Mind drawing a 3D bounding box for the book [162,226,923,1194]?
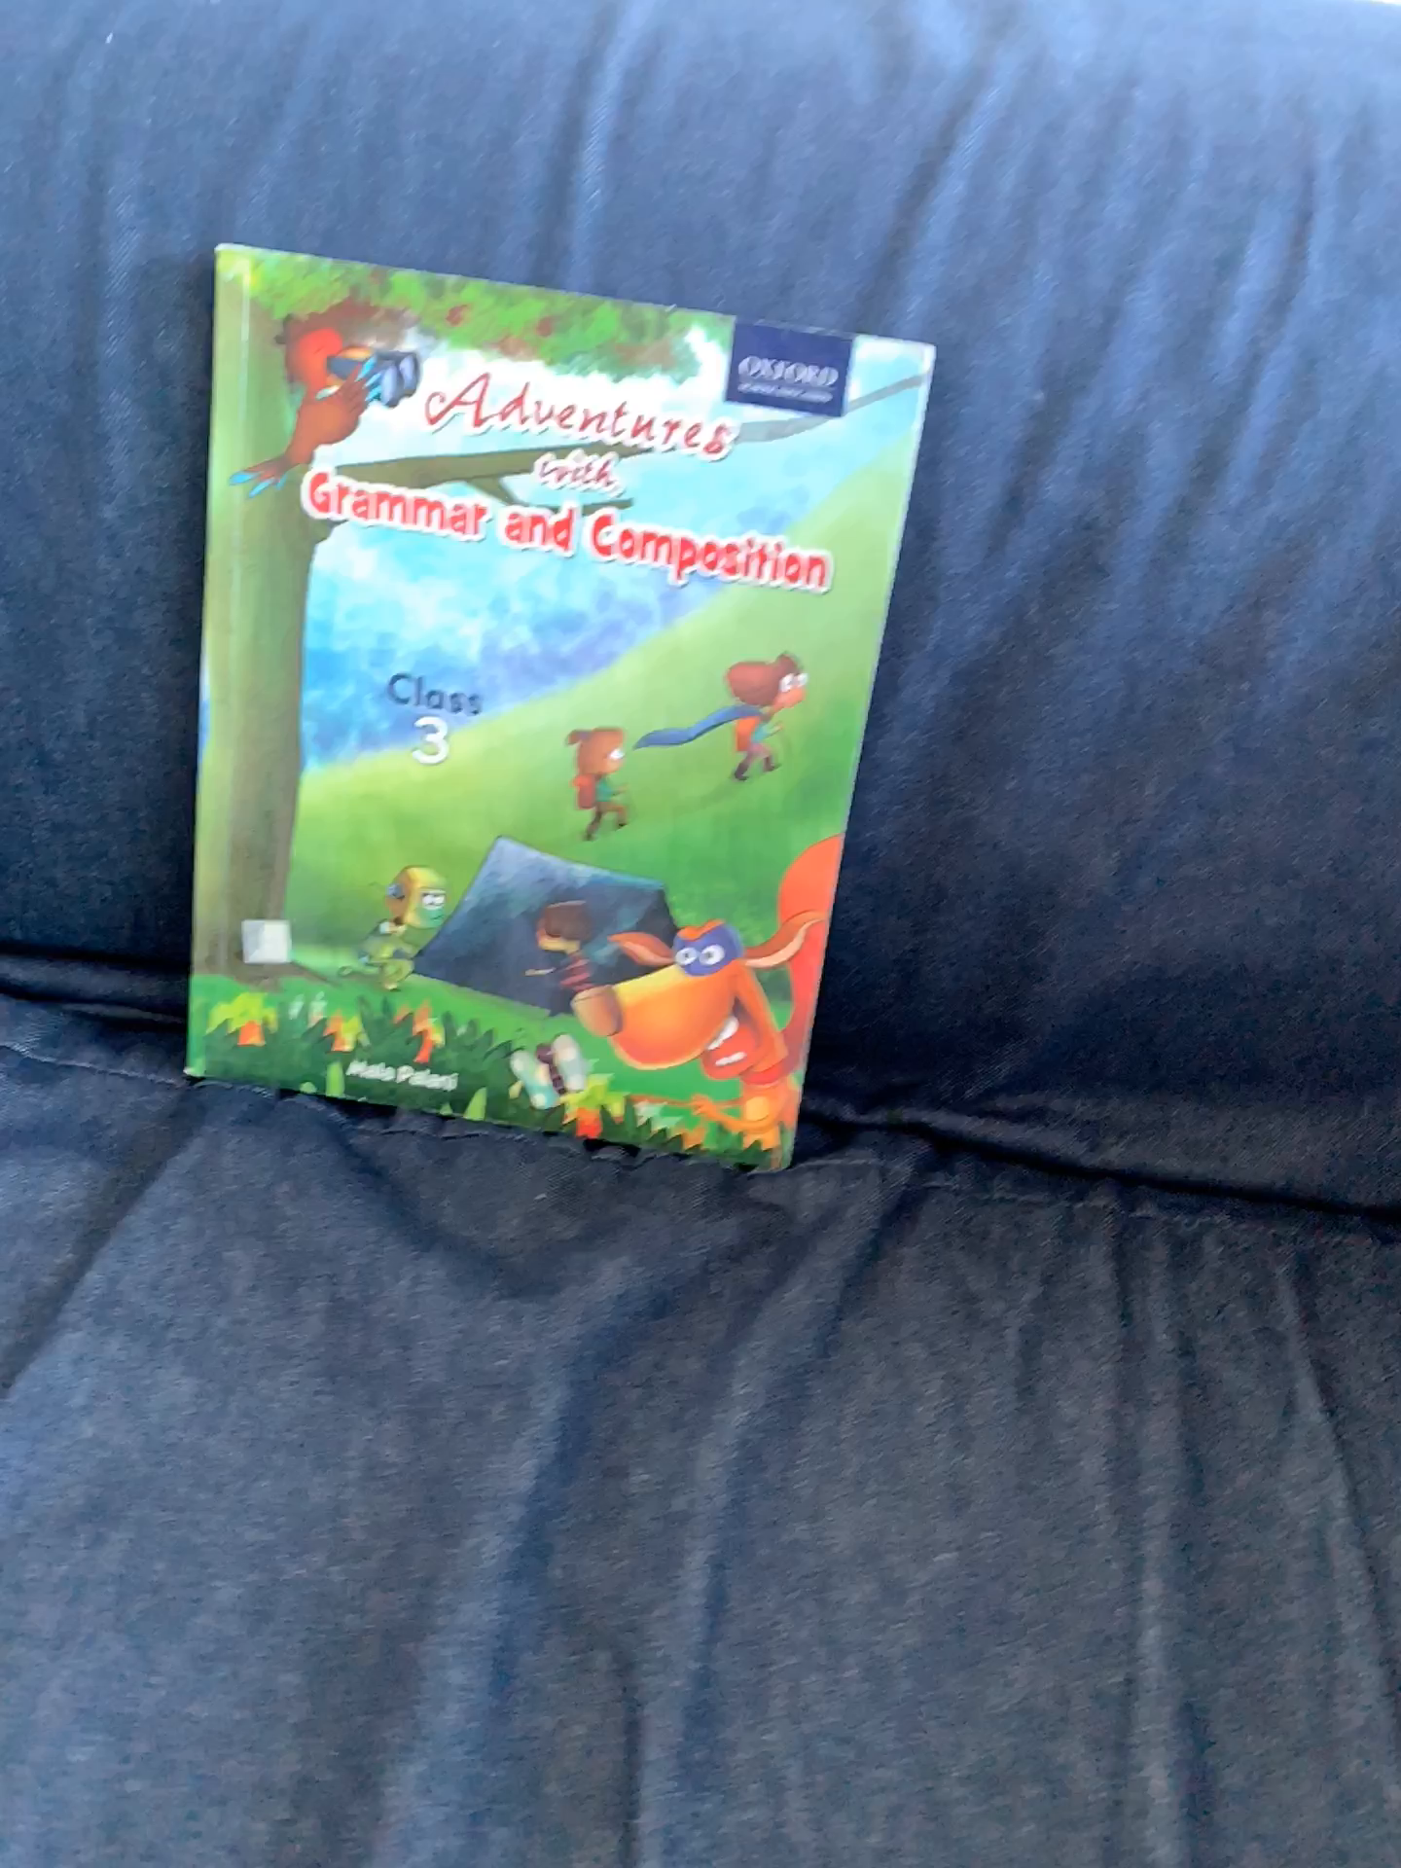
[{"bbox_3d":[-0.060,-0.062,0.456,0.212,0.268,0.030,9,19,3],"label":"book"}]
